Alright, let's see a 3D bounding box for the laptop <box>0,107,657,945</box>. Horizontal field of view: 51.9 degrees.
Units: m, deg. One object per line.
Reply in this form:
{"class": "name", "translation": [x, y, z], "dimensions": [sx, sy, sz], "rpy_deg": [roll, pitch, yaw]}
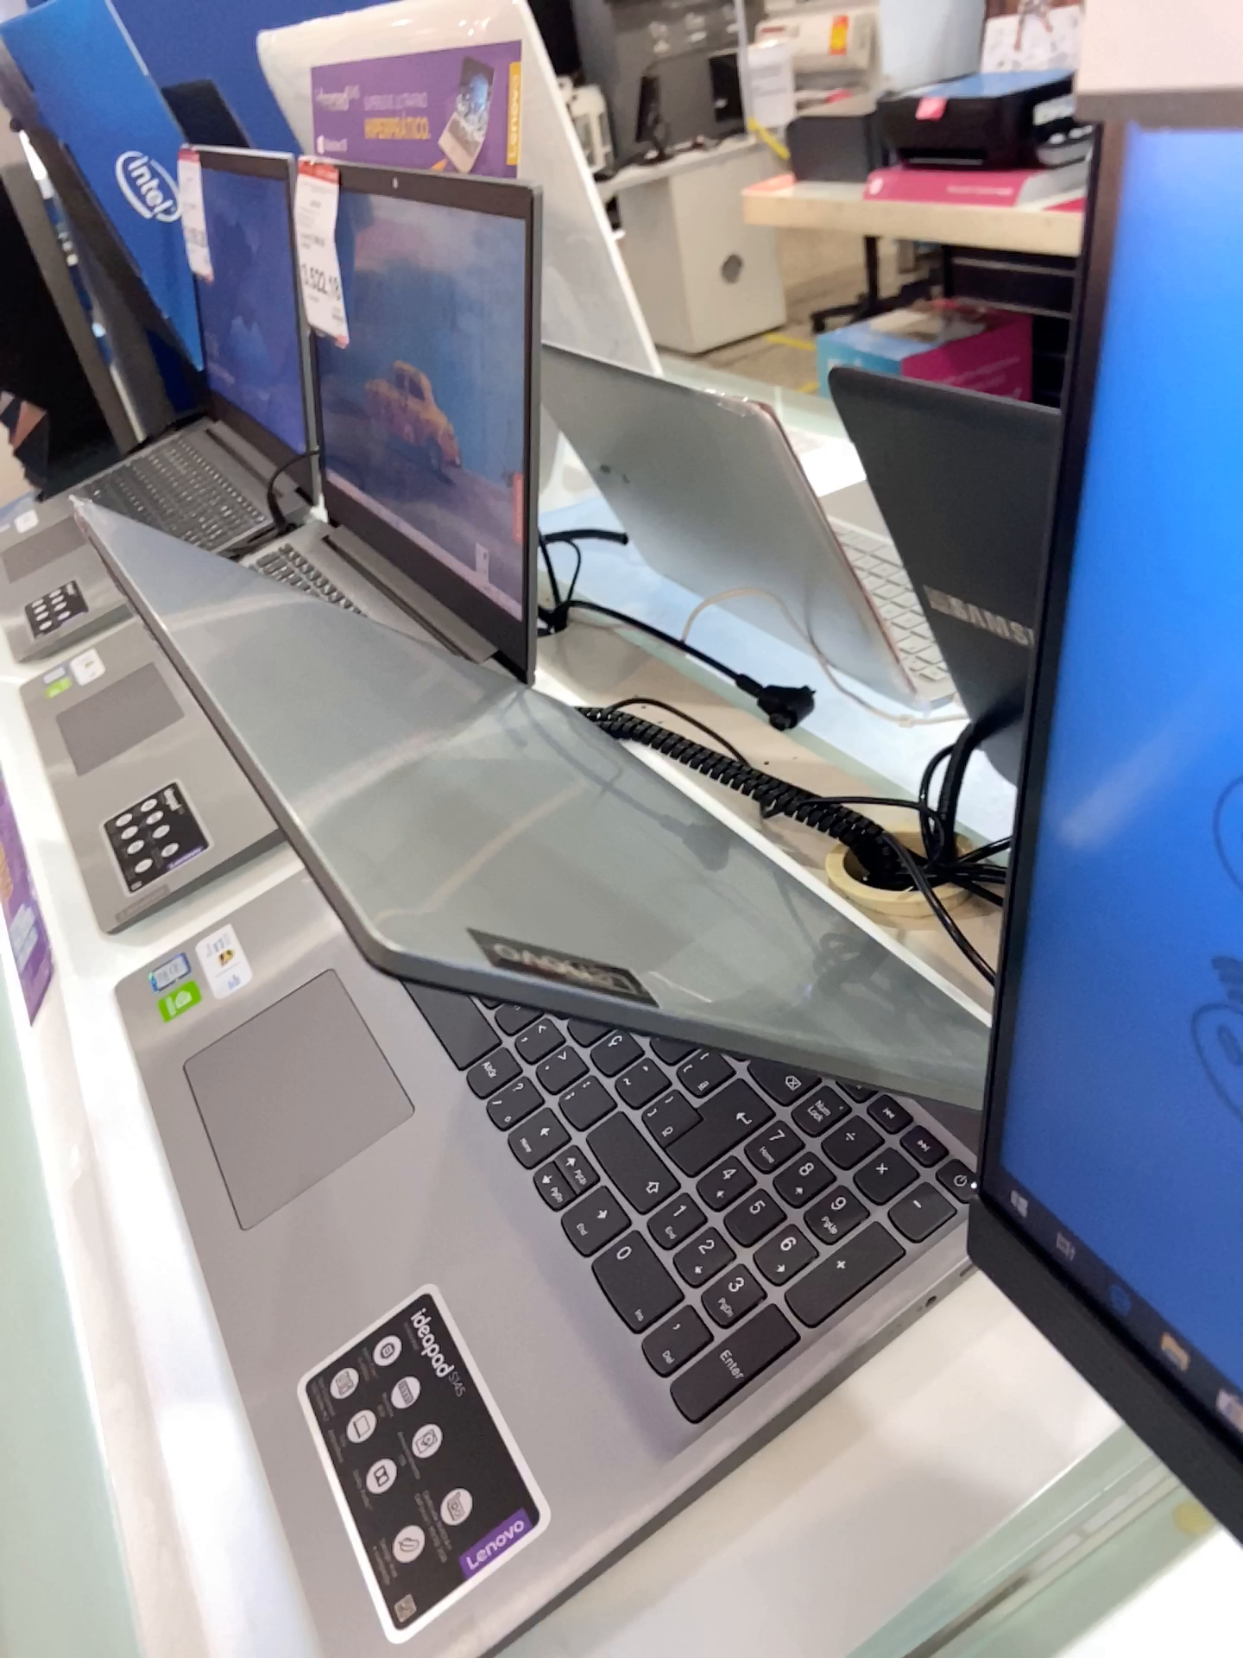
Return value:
{"class": "laptop", "translation": [-0.221, -0.216, 0.747], "dimensions": [0.351, 0.224, 0.348], "rpy_deg": [-32, 39, -16]}

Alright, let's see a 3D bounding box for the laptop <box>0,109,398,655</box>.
{"class": "laptop", "translation": [-0.469, -0.441, 1.206], "dimensions": [0.386, 0.260, 0.311], "rpy_deg": [-32, 40, -17]}

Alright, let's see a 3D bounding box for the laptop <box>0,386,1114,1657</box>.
{"class": "laptop", "translation": [-0.065, 0.016, 0.430], "dimensions": [0.241, 0.163, 0.361], "rpy_deg": [-31, 37, -14]}
